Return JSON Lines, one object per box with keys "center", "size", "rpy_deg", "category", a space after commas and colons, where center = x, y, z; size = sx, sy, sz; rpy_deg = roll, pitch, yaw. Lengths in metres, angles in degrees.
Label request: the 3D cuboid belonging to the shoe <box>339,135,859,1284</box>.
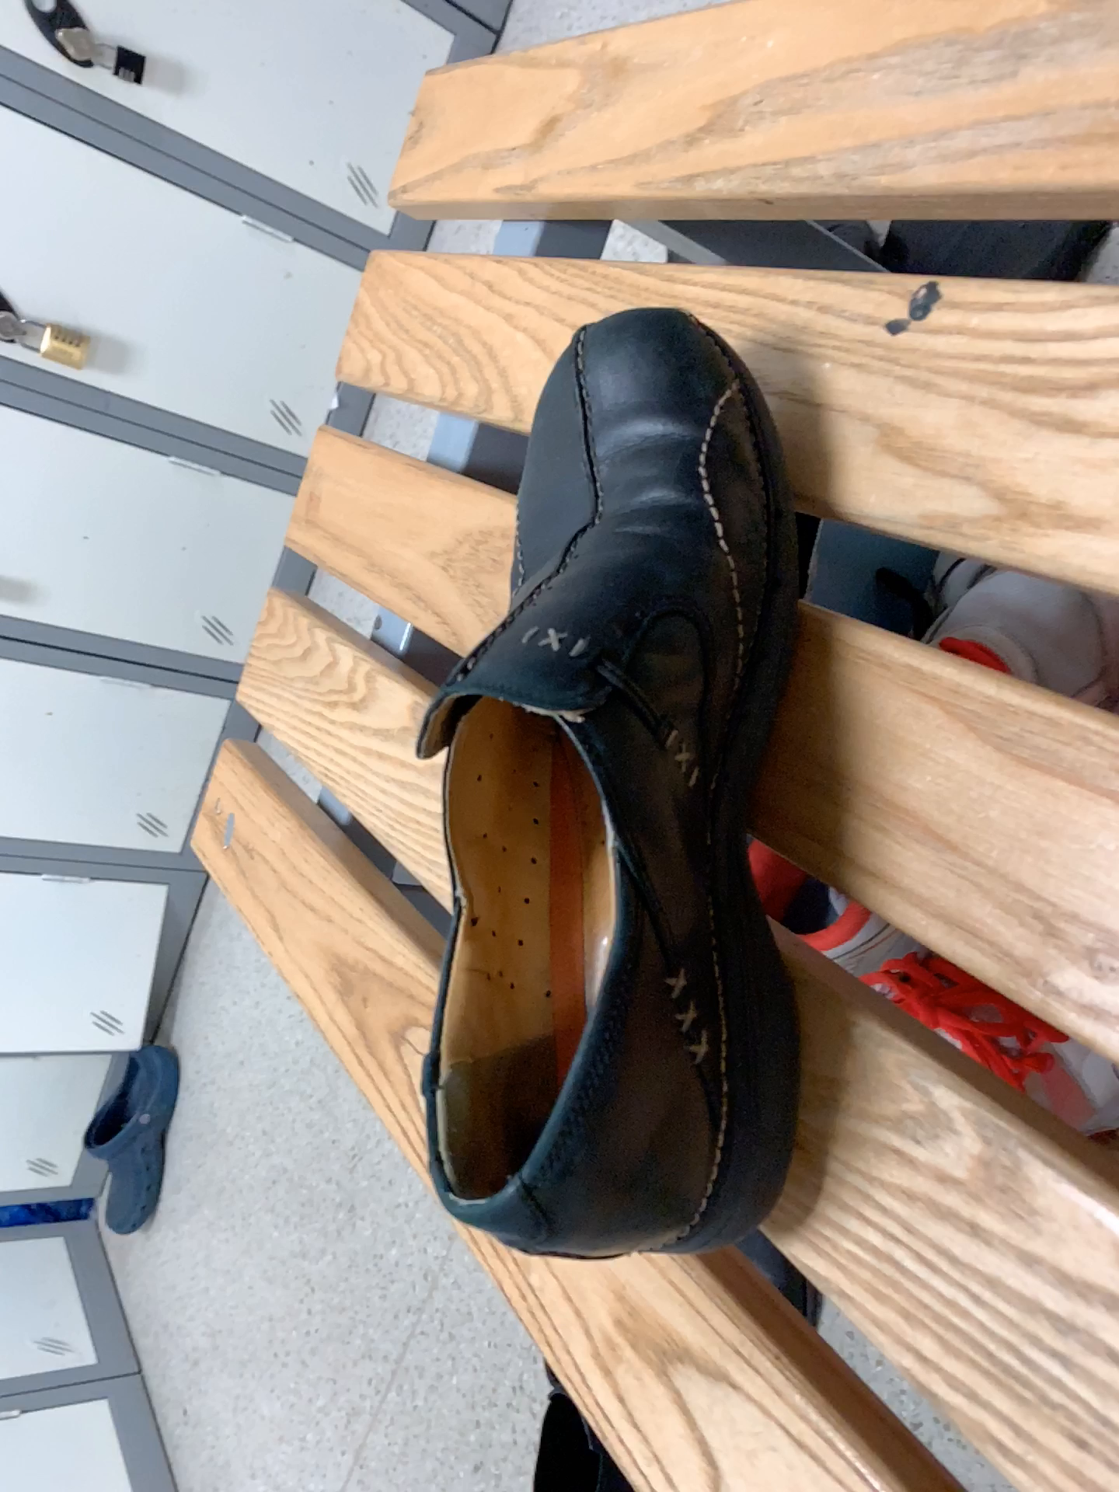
{"center": [0.003, -0.009, 0.314], "size": [0.104, 0.075, 0.268], "rpy_deg": [-21, 64, 48], "category": "shoe"}
